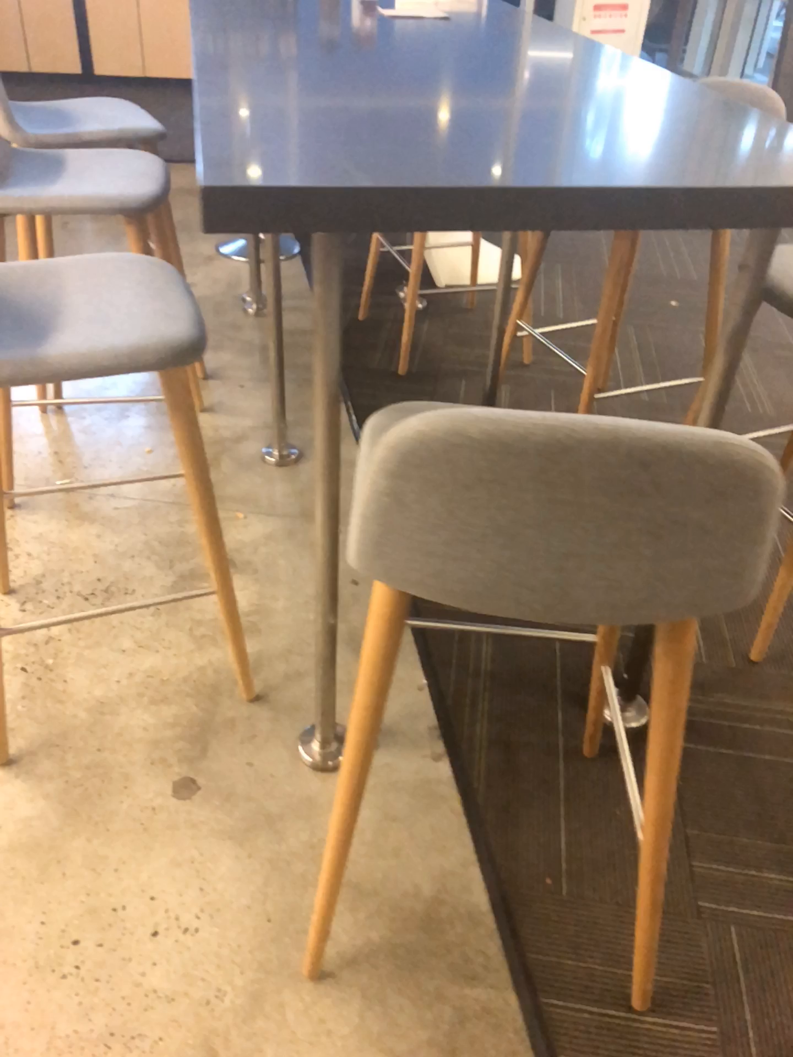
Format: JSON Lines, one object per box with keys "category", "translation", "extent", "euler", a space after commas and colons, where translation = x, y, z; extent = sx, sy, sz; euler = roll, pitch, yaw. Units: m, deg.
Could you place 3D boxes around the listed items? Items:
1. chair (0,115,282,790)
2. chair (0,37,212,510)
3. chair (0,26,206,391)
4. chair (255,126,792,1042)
{"category": "chair", "translation": [-0.548, -0.131, 1.528], "extent": [0.542, 0.981, 0.503], "euler": [-12, 39, -21]}
{"category": "chair", "translation": [-0.776, -0.620, 2.134], "extent": [0.541, 0.982, 0.503], "euler": [-5, 32, -12]}
{"category": "chair", "translation": [-0.936, -0.958, 2.575], "extent": [0.512, 0.893, 0.492], "euler": [-16, 36, -25]}
{"category": "chair", "translation": [0.149, 0.080, 1.168], "extent": [0.500, 0.981, 0.666], "euler": [5, 36, 2]}
